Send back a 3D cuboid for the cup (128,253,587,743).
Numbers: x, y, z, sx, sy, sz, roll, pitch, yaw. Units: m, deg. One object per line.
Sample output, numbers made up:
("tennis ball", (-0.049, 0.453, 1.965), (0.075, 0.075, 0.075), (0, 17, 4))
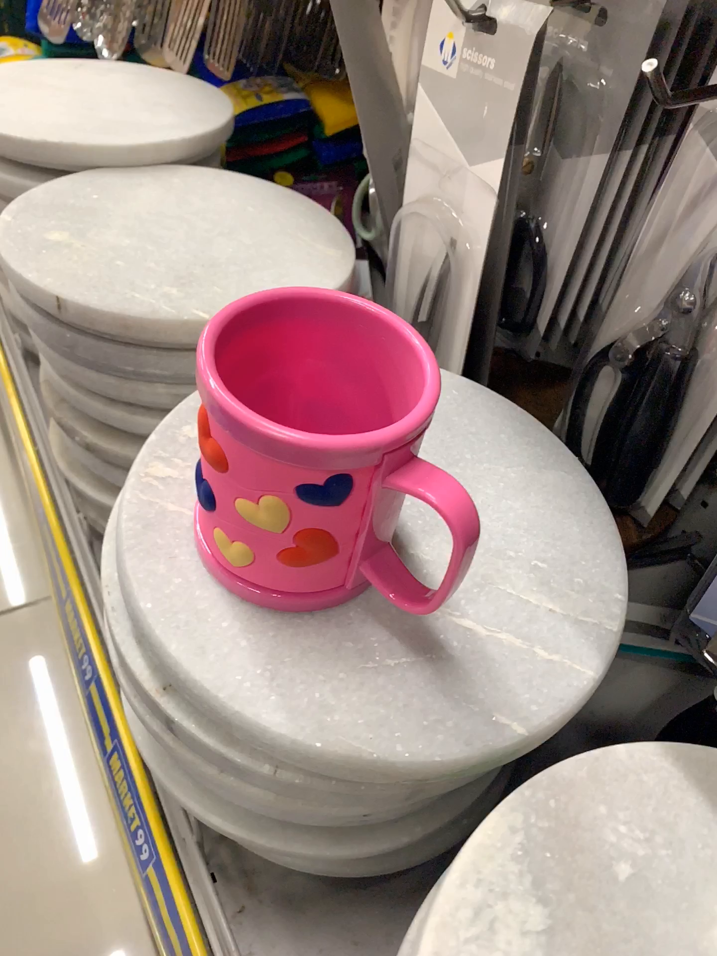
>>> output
("cup", (-0.008, 0.002, 0.261), (0.120, 0.100, 0.080), (37, 50, 26))
